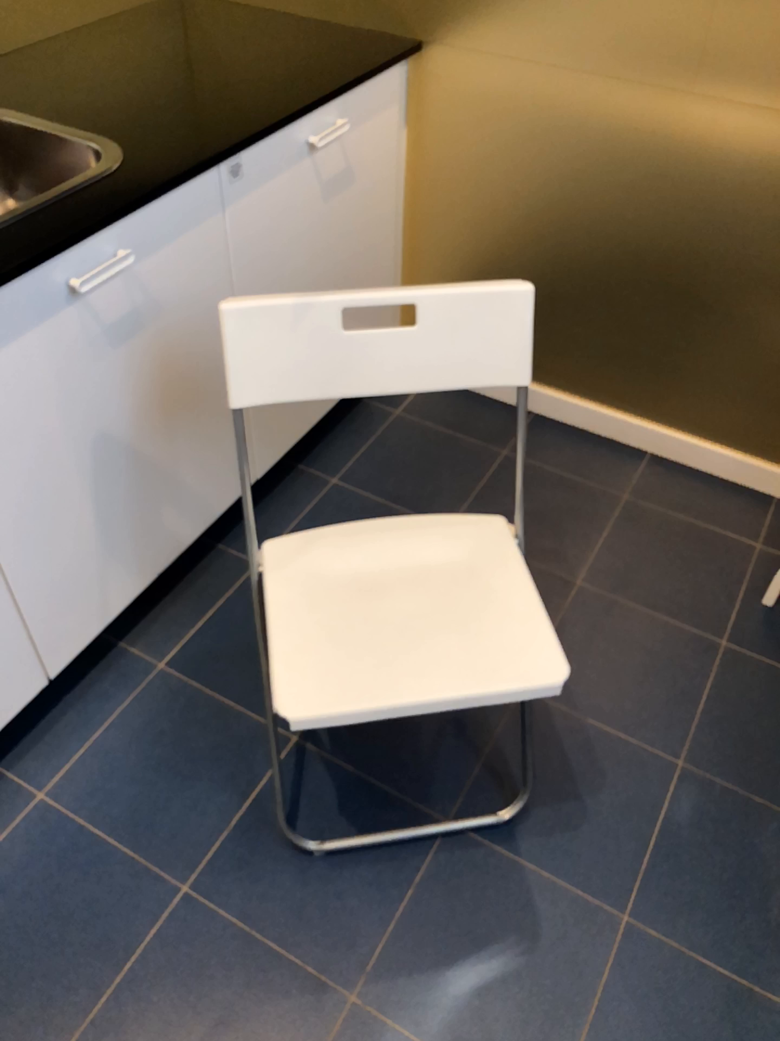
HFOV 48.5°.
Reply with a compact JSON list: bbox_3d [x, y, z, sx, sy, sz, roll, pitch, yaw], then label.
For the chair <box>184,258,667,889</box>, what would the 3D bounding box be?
[{"bbox_3d":[-0.006,0.101,1.317,0.490,0.775,0.523,-6,45,-8],"label":"chair"}]
